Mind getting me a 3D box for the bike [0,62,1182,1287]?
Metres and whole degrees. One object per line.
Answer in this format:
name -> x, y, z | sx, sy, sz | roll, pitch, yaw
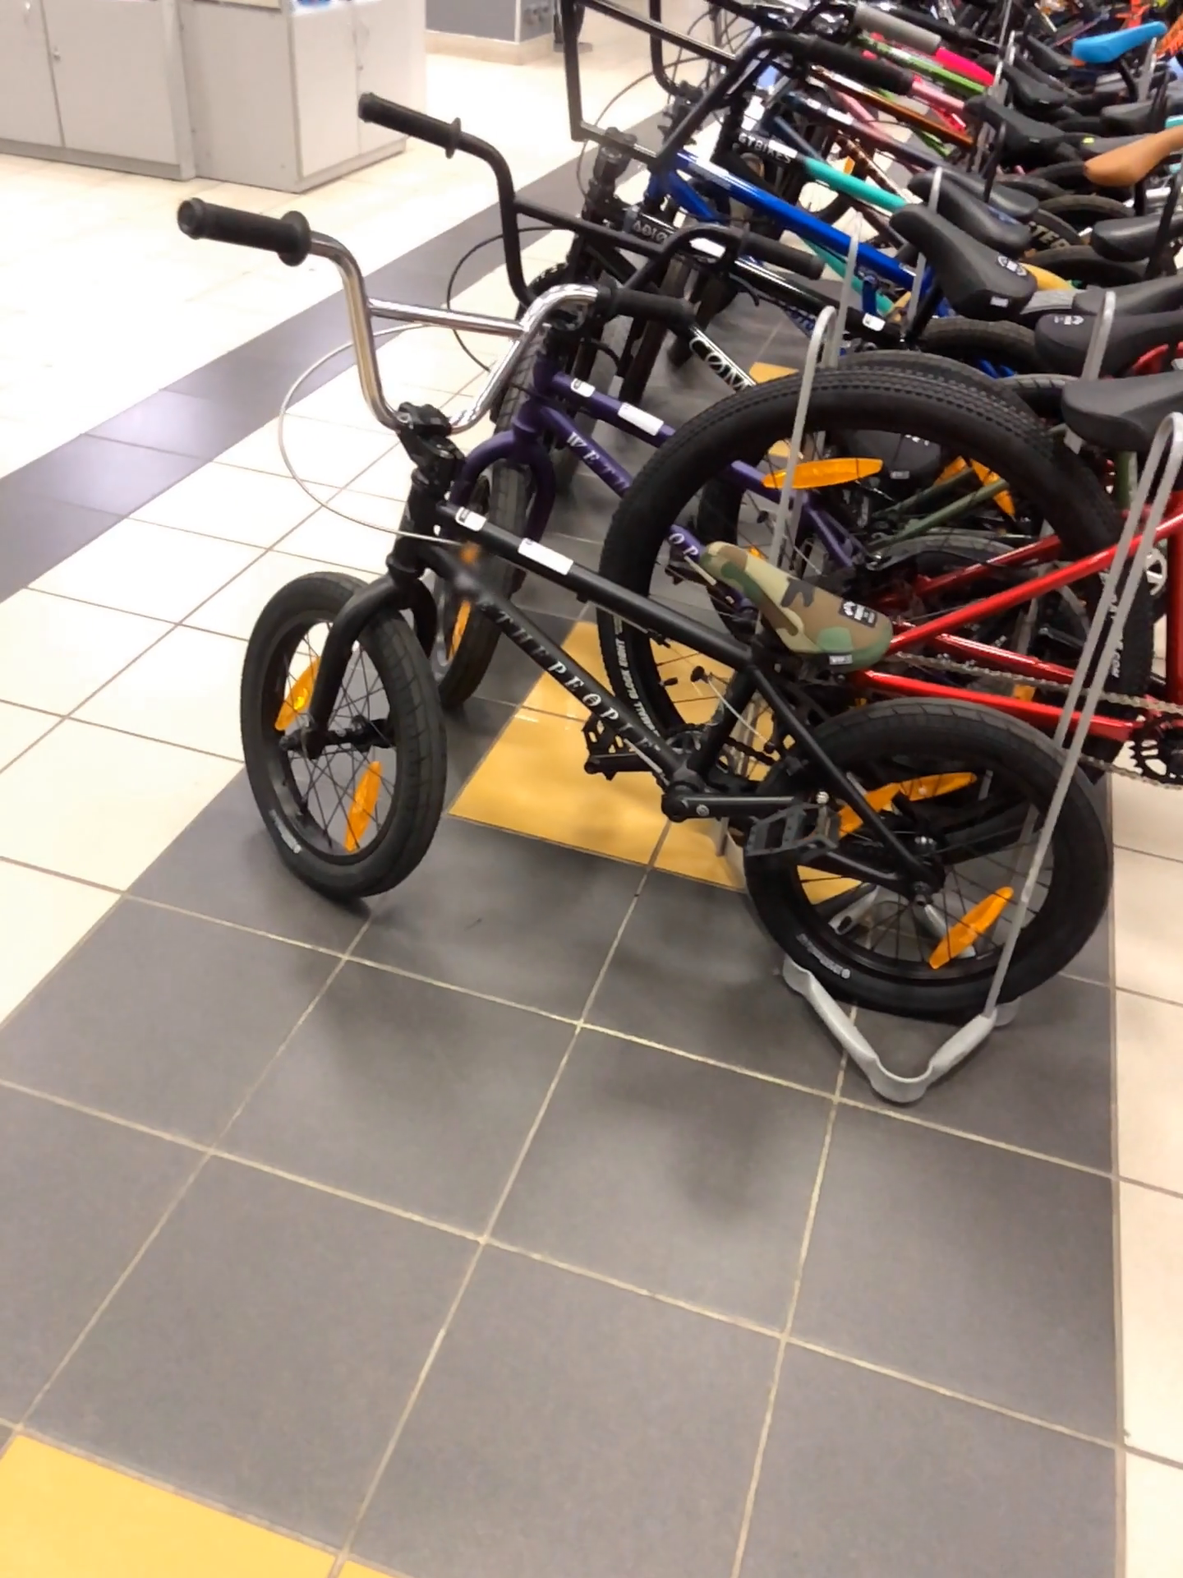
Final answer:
bike -> 0.070, -0.198, 1.388 | 1.072, 0.810, 0.679 | 18, 37, 14
